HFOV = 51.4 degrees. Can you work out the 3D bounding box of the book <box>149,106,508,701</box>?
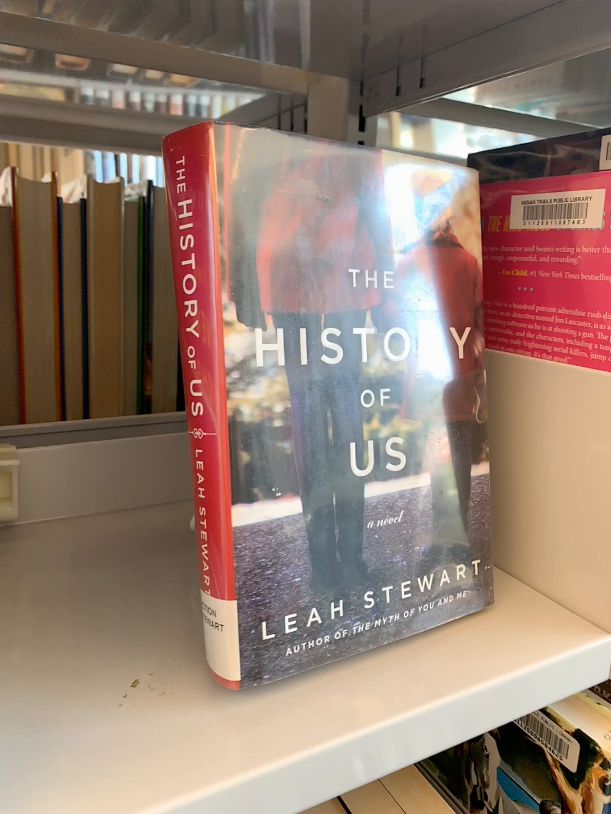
[{"bbox_3d":[0.018,-0.006,0.288,0.153,0.220,0.040,-6,5,-29],"label":"book"}]
